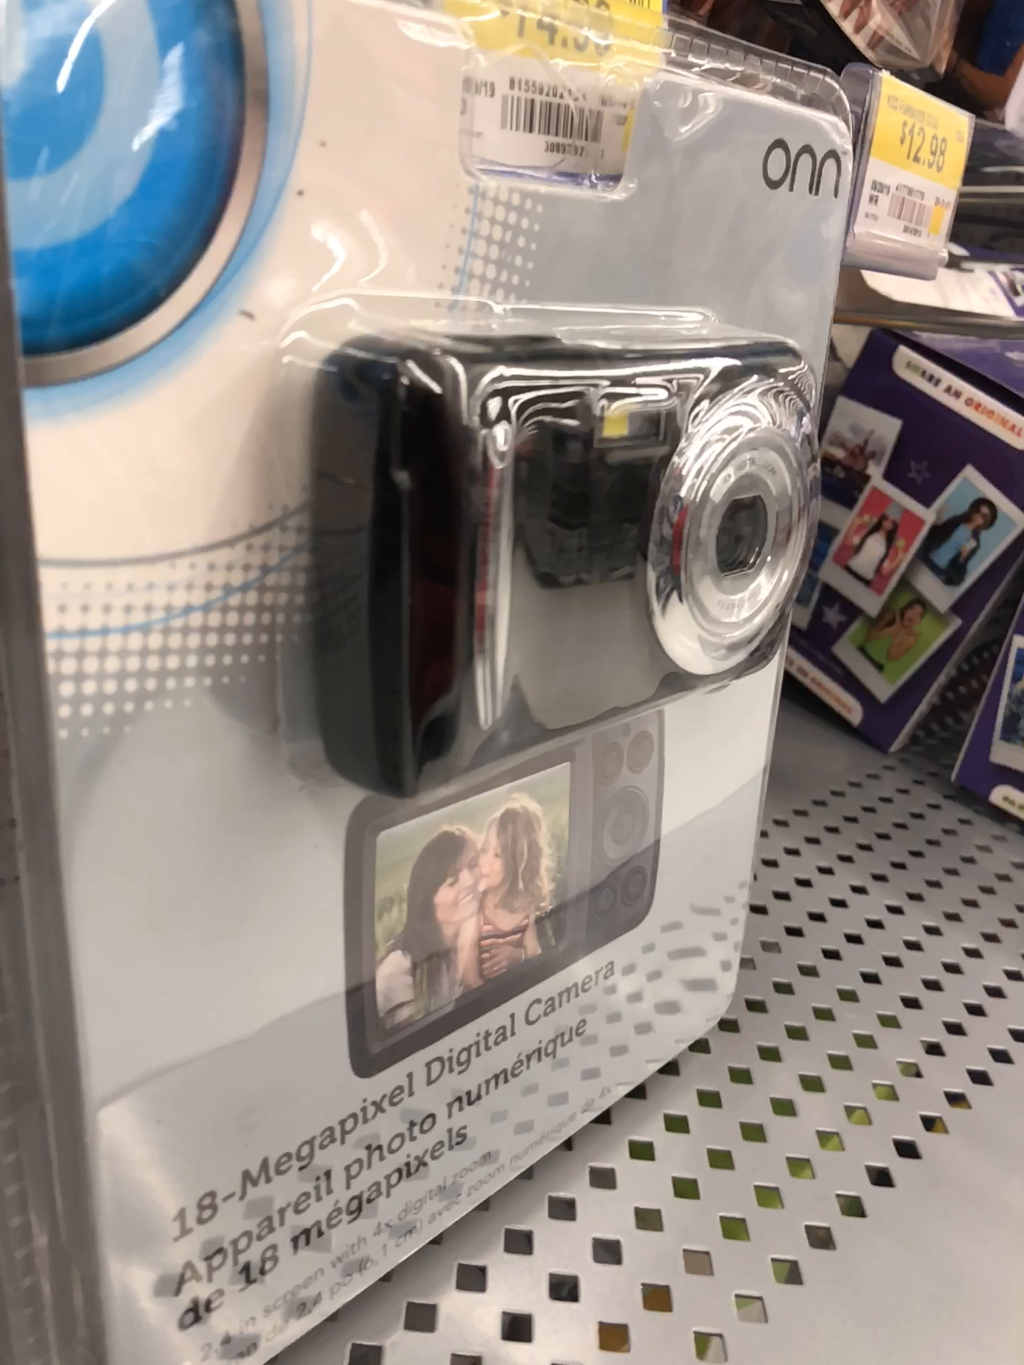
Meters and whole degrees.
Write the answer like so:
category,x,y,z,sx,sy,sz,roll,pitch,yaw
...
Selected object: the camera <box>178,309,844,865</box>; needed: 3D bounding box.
category,x,y,z,sx,sy,sz,roll,pitch,yaw
camera,0.005,-0.021,0.168,0.030,0.060,0.100,22,27,40
